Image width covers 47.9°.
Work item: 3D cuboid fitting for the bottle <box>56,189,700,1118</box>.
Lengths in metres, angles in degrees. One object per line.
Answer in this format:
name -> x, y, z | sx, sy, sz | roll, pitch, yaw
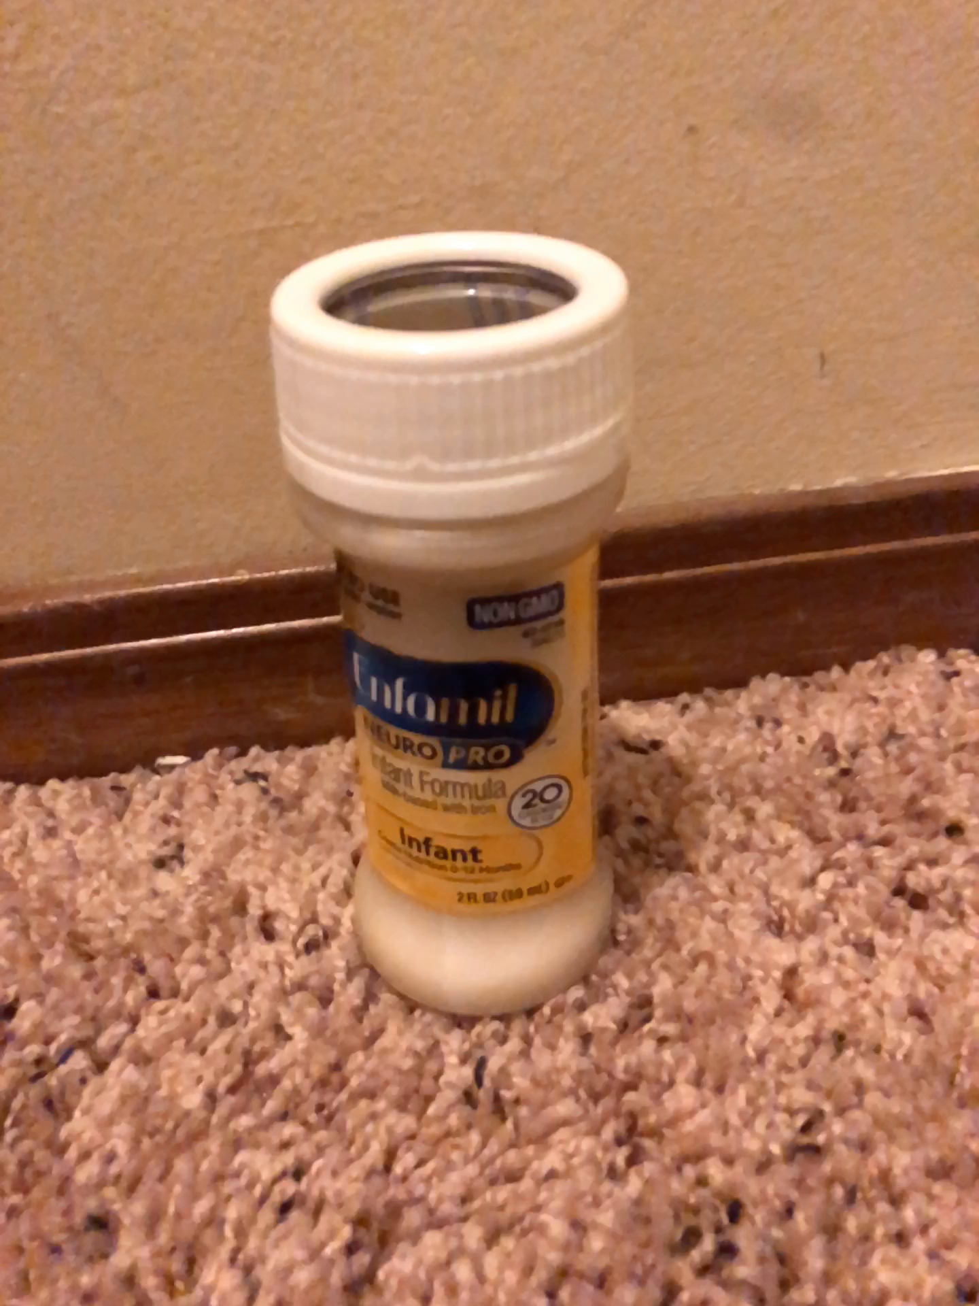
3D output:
bottle -> -0.006, 0.003, 0.149 | 0.050, 0.110, 0.050 | -3, 38, 2
